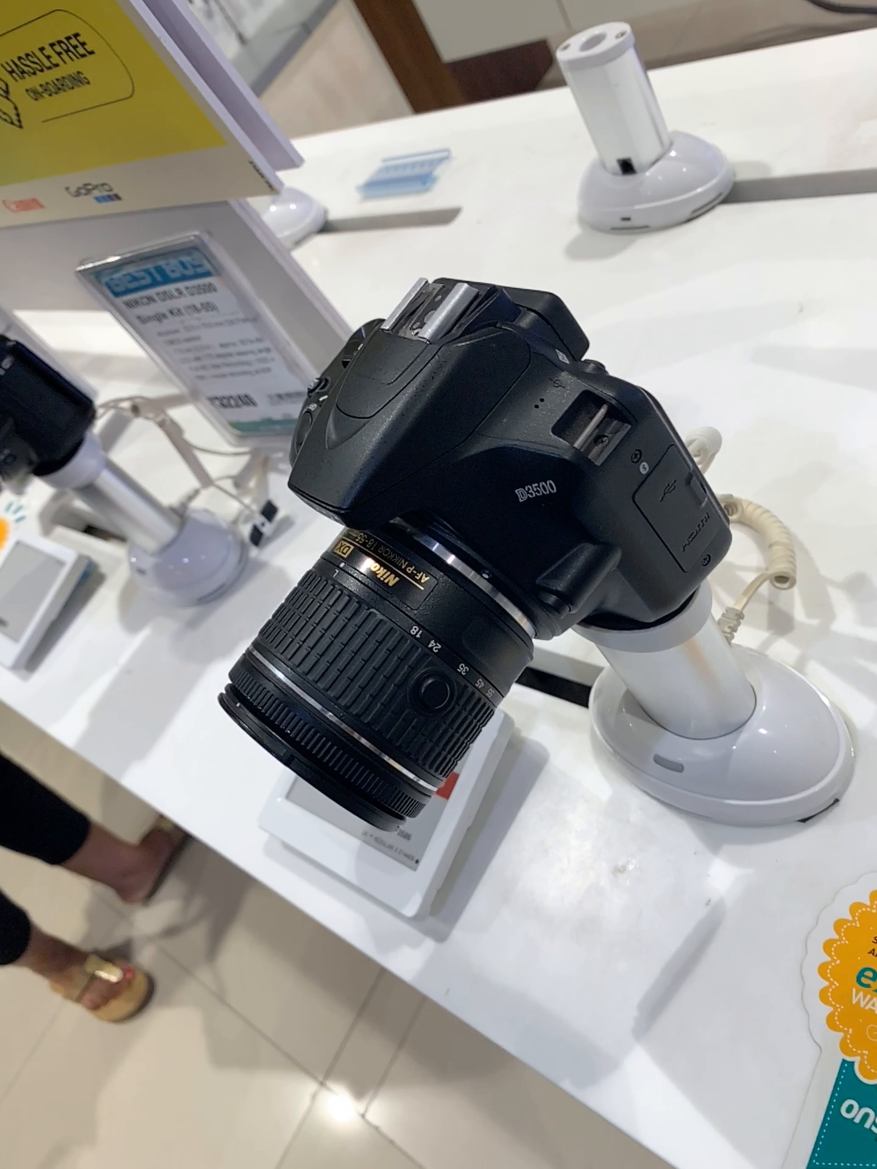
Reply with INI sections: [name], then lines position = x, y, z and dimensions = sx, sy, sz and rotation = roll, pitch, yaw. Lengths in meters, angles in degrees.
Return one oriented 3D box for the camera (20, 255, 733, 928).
[camera]
position = -0.015, -0.005, 0.223
dimensions = 0.111, 0.090, 0.103
rotation = 29, 75, 45
